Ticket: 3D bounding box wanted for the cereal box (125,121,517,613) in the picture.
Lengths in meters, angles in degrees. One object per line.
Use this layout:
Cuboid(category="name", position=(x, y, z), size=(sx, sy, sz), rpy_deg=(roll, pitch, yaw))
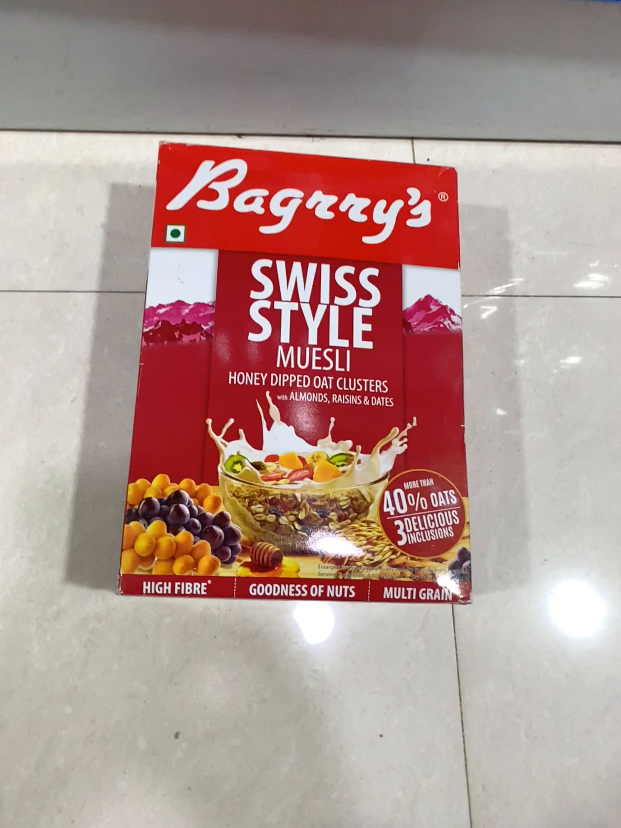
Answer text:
Cuboid(category="cereal box", position=(0.008, -0.024, 0.376), size=(0.190, 0.080, 0.260), rpy_deg=(3, 76, -5))
